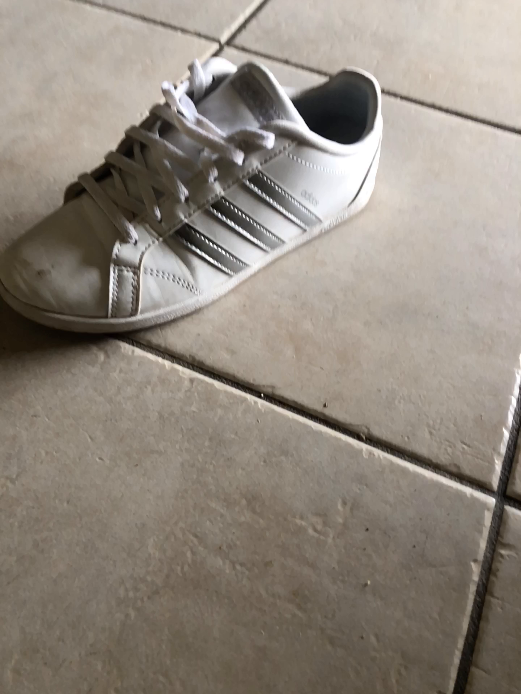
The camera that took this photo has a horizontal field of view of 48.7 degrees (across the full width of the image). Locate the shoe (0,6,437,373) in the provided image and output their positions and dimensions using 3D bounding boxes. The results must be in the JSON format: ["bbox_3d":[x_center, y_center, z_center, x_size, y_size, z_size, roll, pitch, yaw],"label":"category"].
[{"bbox_3d":[-0.036,-0.105,0.350,0.271,0.100,0.090,-28,62,-21],"label":"shoe"}]
